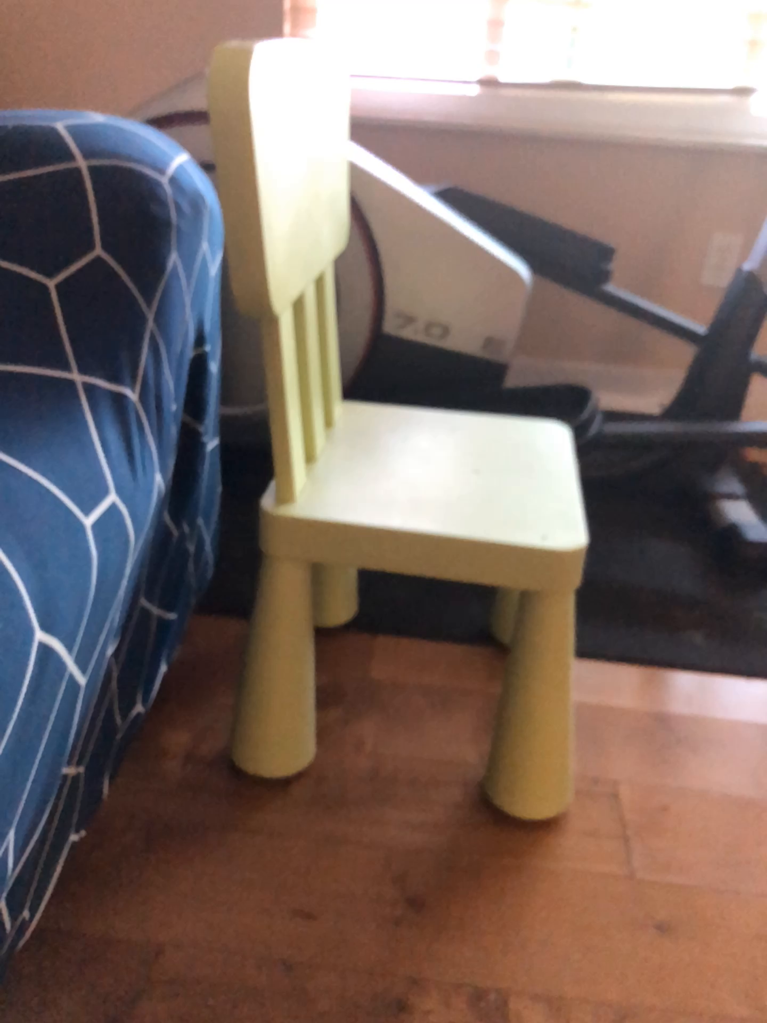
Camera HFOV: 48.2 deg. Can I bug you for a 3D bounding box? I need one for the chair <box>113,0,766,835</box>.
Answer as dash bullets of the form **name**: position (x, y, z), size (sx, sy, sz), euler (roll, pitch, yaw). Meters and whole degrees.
- **chair**: position (0.037, -0.096, 0.827), size (0.410, 0.636, 0.392), euler (5, 26, 3)
